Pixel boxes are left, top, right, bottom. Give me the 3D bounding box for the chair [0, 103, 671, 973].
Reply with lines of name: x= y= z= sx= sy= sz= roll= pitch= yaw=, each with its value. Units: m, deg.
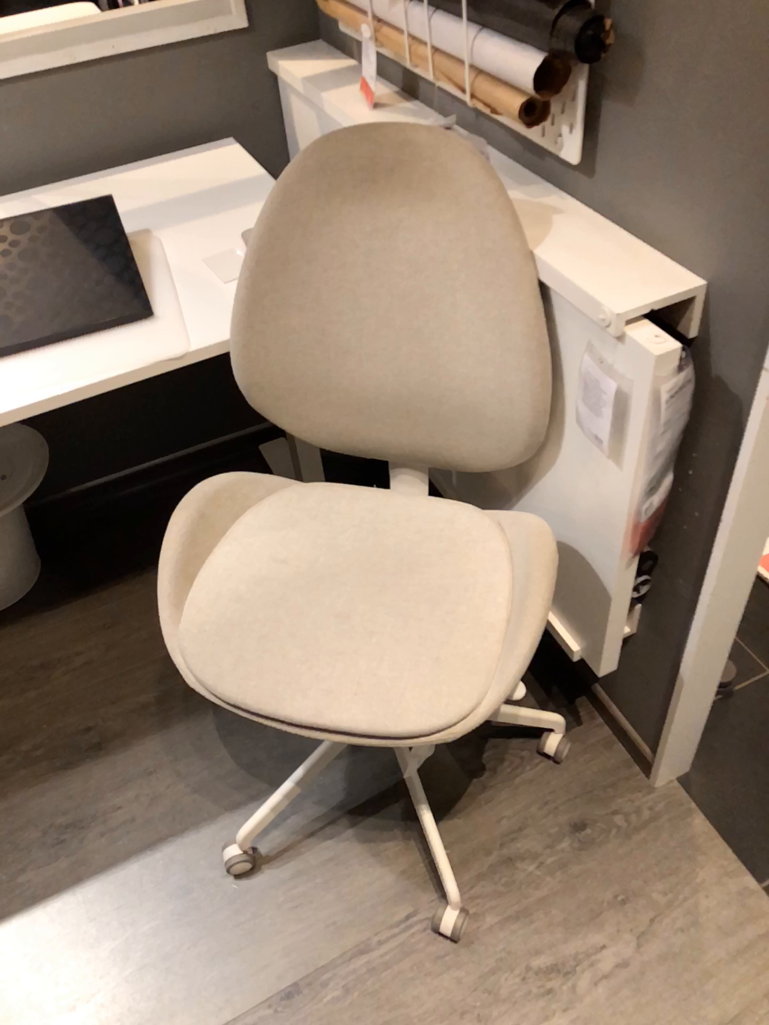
chair: x=-0.039 y=0.045 z=1.213 sx=0.681 sy=0.964 sz=0.684 roll=9 pitch=46 yaw=16
